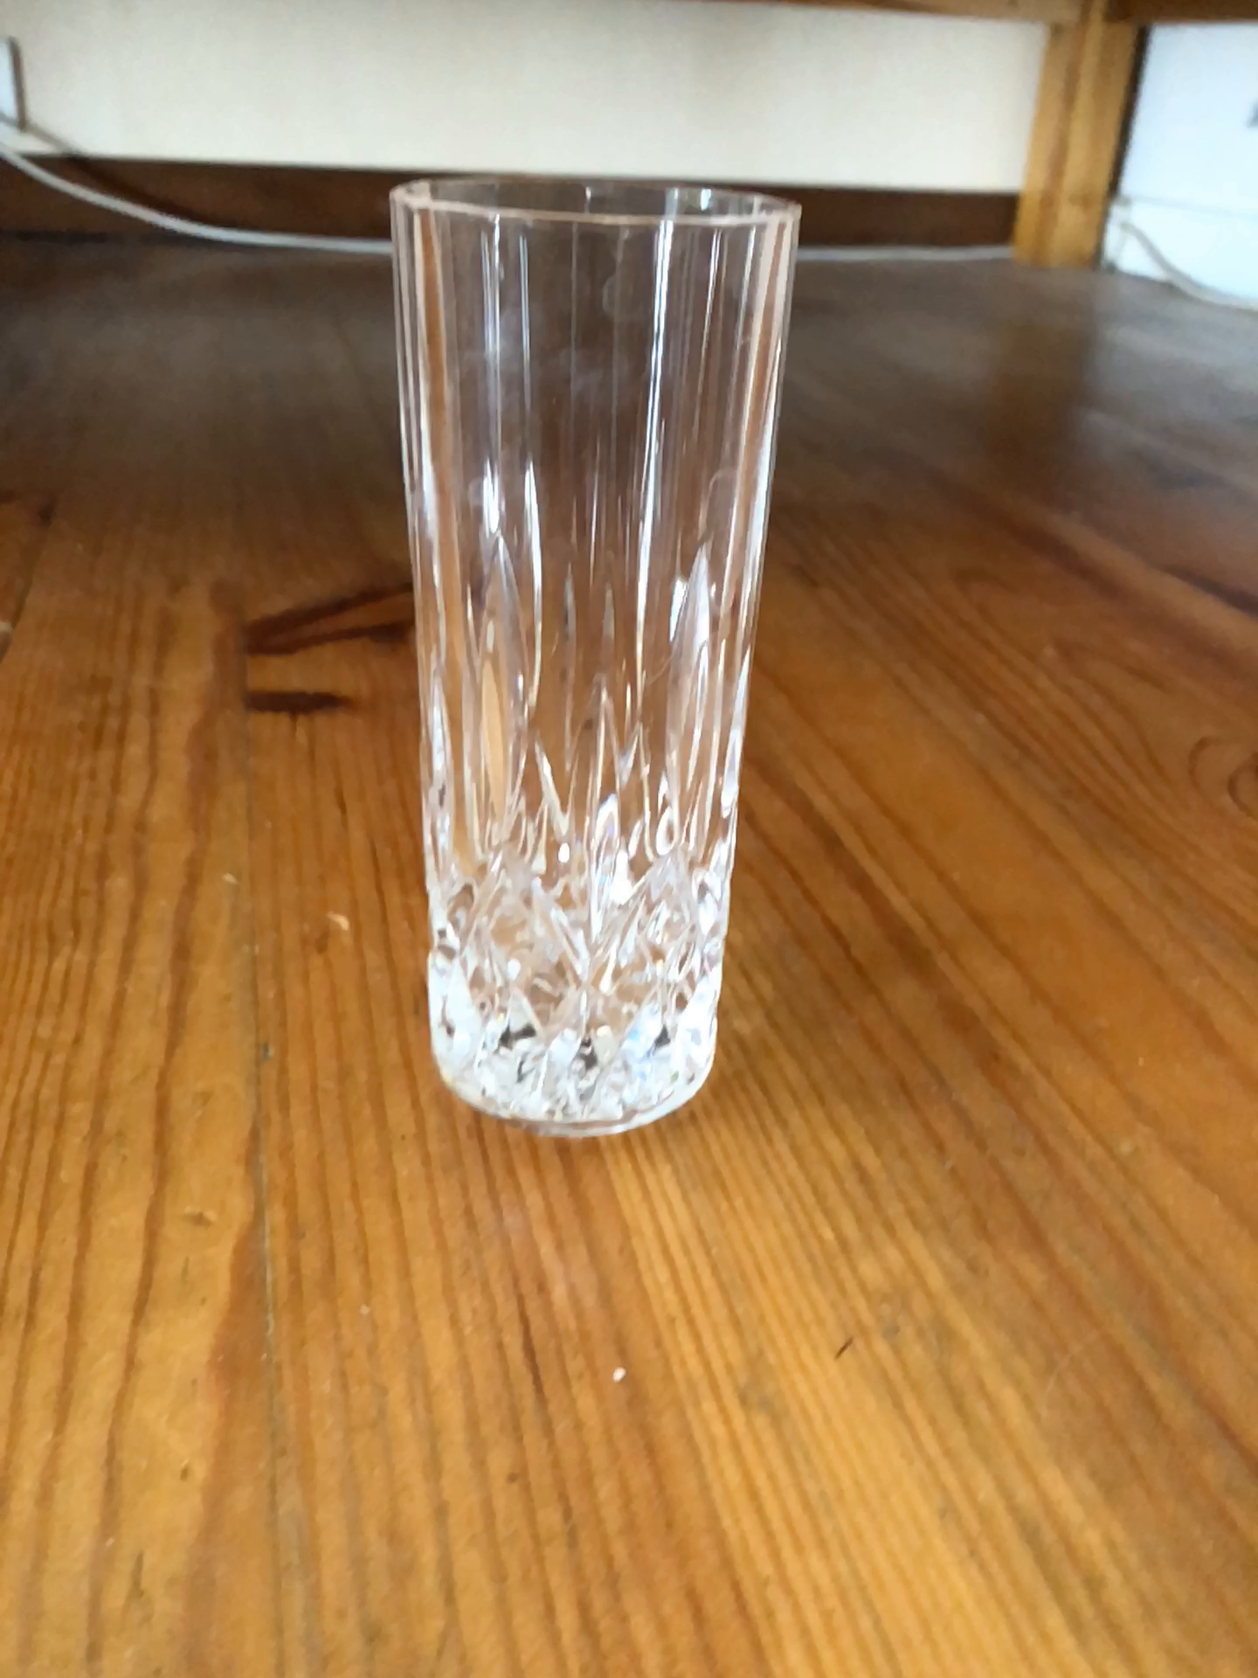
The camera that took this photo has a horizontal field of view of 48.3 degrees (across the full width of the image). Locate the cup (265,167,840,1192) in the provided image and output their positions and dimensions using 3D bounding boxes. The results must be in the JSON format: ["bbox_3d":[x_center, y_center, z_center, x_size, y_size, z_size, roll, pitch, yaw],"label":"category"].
[{"bbox_3d":[-0.011,-0.026,0.229,0.059,0.144,0.064,3,29,-2],"label":"cup"}]
